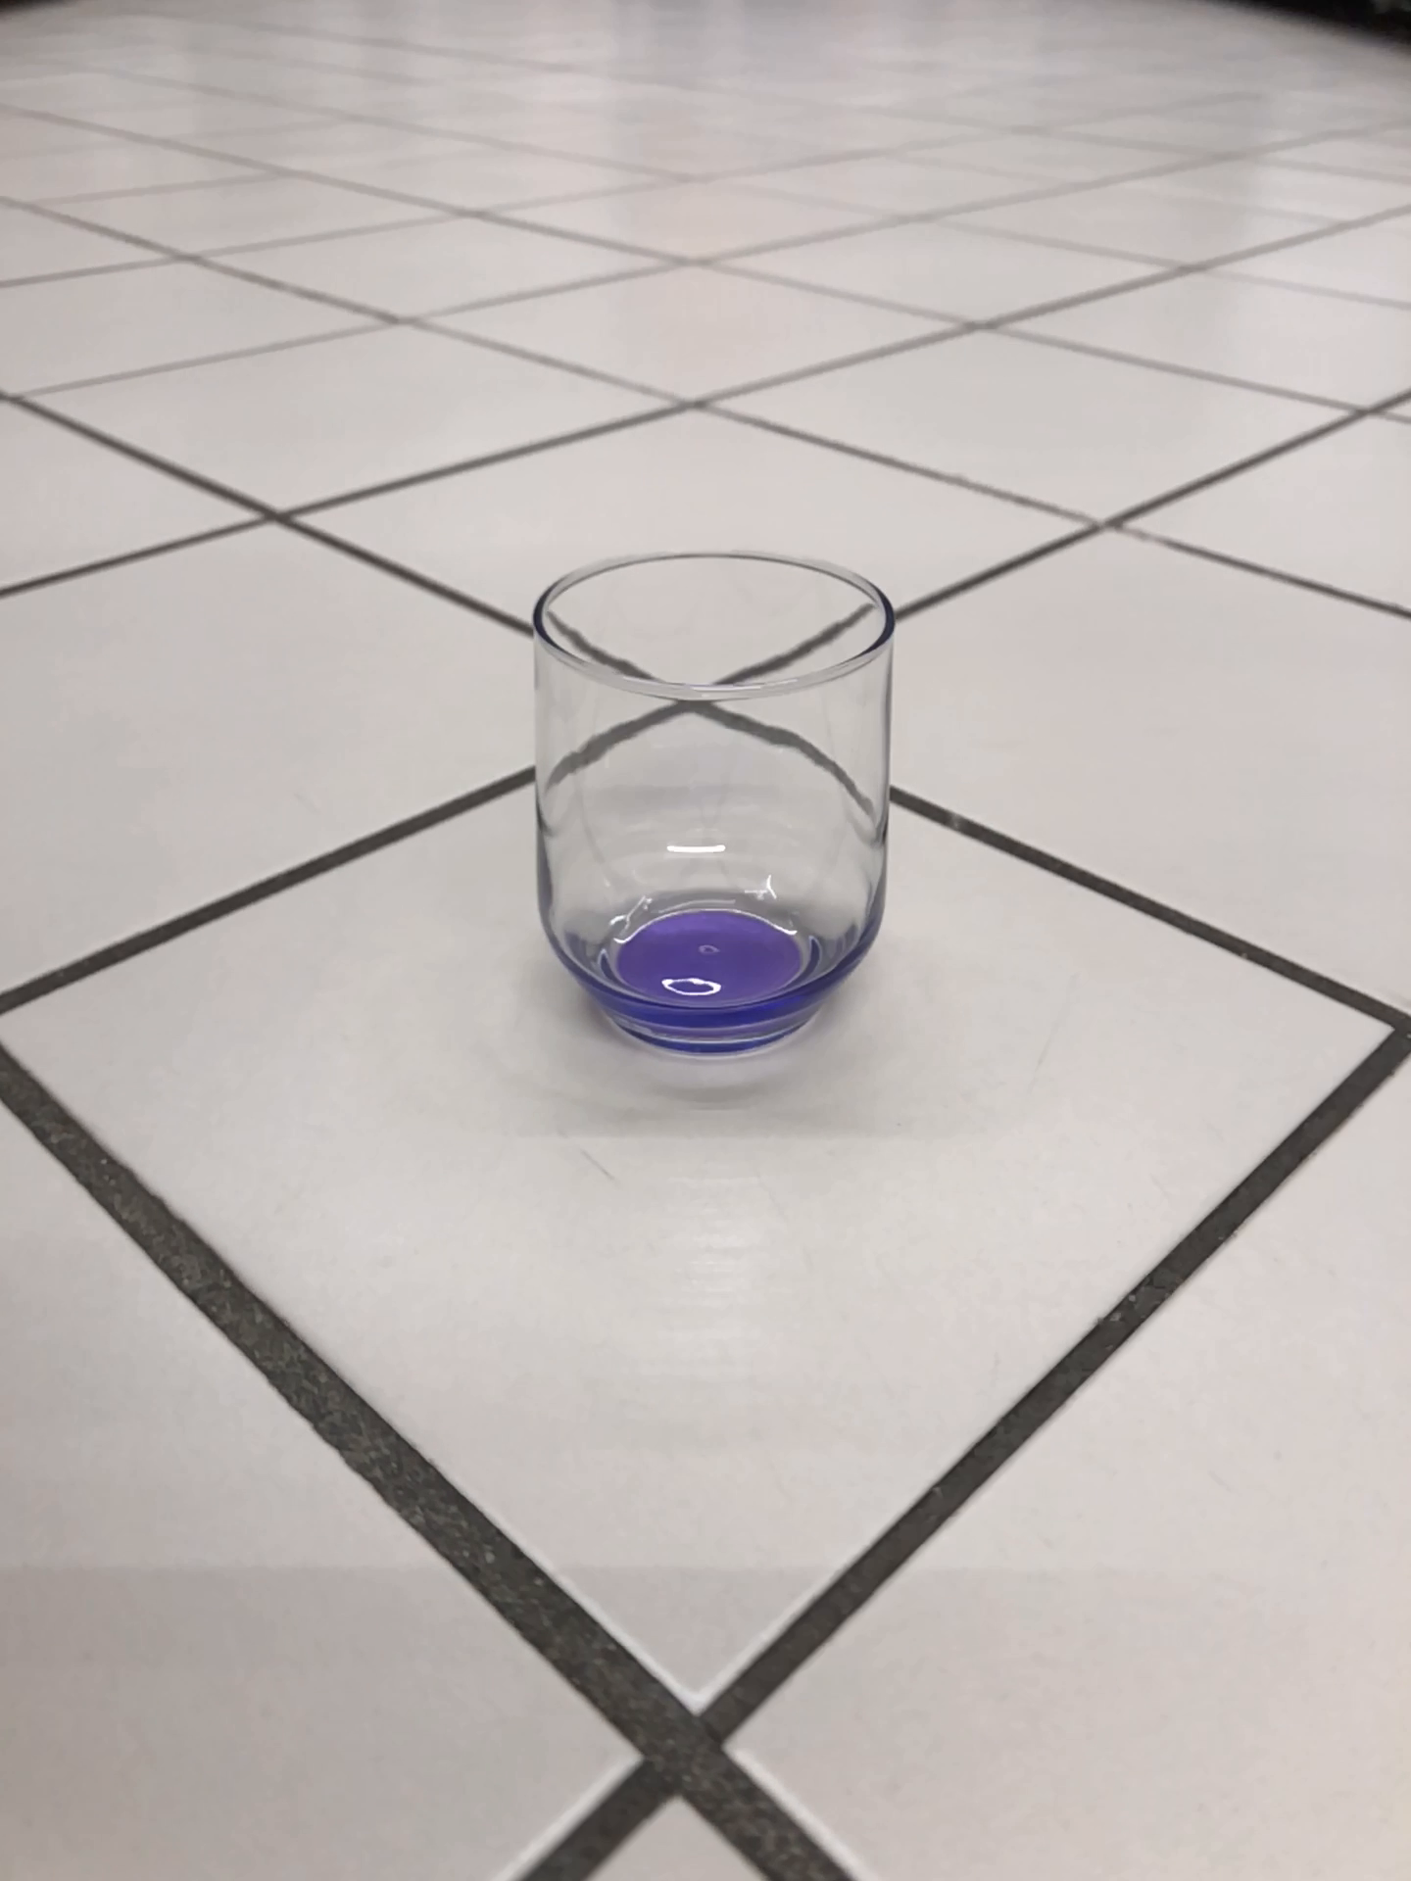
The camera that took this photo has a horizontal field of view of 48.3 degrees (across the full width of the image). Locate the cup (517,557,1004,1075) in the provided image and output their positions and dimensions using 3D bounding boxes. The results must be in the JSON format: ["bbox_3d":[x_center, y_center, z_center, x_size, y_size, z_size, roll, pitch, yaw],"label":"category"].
[{"bbox_3d":[0.006,-0.026,0.290,0.070,0.063,0.070,1,34,0],"label":"cup"}]
